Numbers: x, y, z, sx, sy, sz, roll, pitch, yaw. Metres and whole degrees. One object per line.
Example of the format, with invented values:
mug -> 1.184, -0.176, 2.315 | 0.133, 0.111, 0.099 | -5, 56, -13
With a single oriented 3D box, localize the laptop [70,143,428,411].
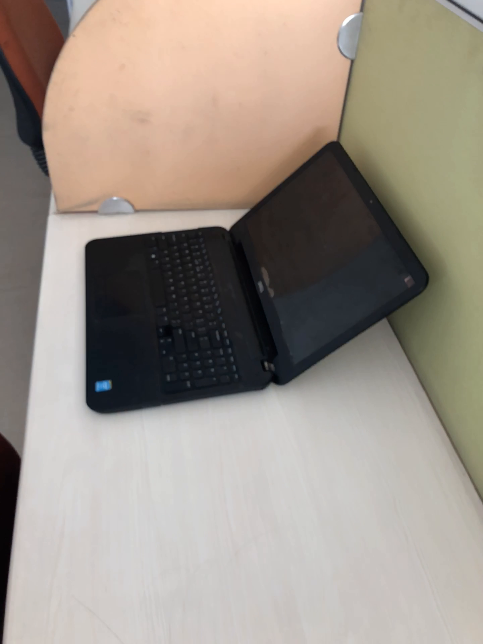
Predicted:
laptop -> -0.020, -0.092, 0.803 | 0.424, 0.165, 0.358 | -7, 47, -10
